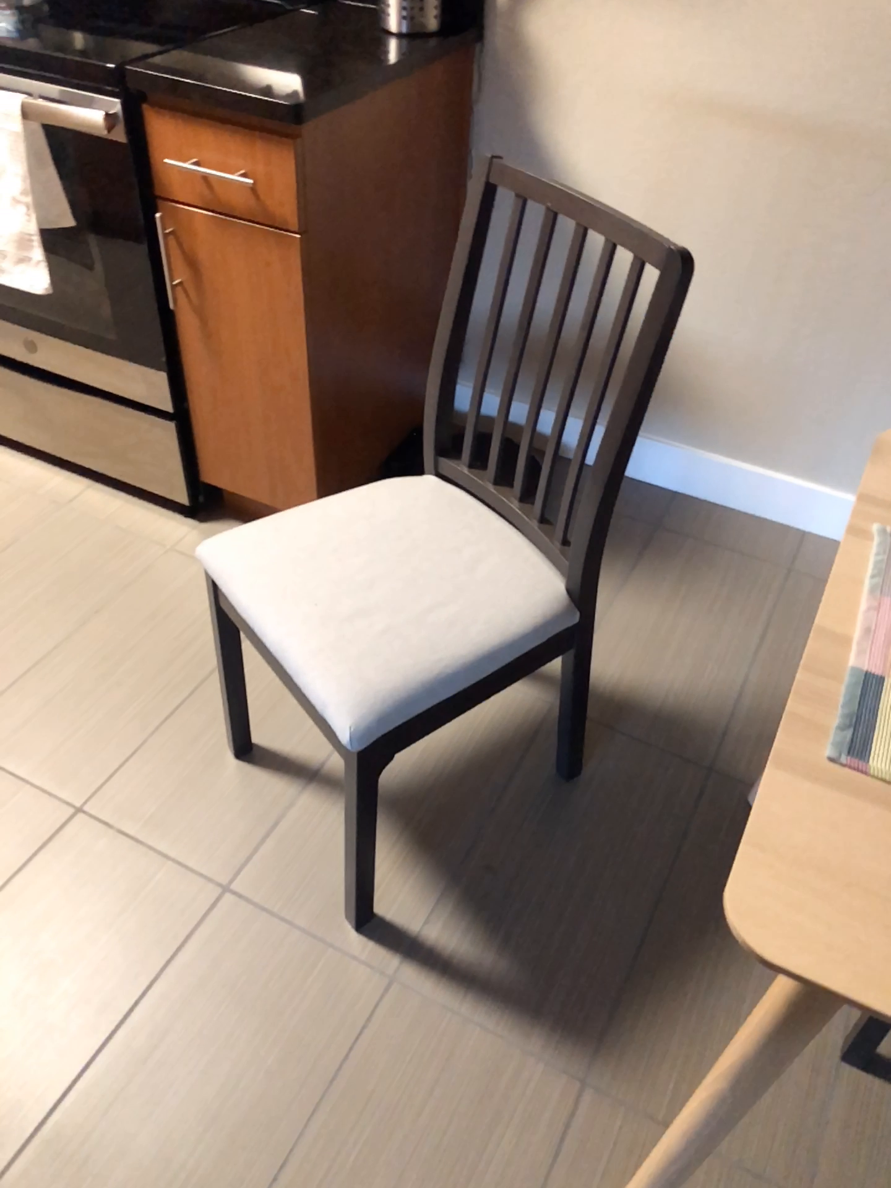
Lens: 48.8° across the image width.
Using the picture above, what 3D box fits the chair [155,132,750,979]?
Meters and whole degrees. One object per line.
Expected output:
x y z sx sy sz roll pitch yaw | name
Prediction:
-0.031 -0.010 1.501 0.511 1.125 0.482 -20 47 -25 | chair
